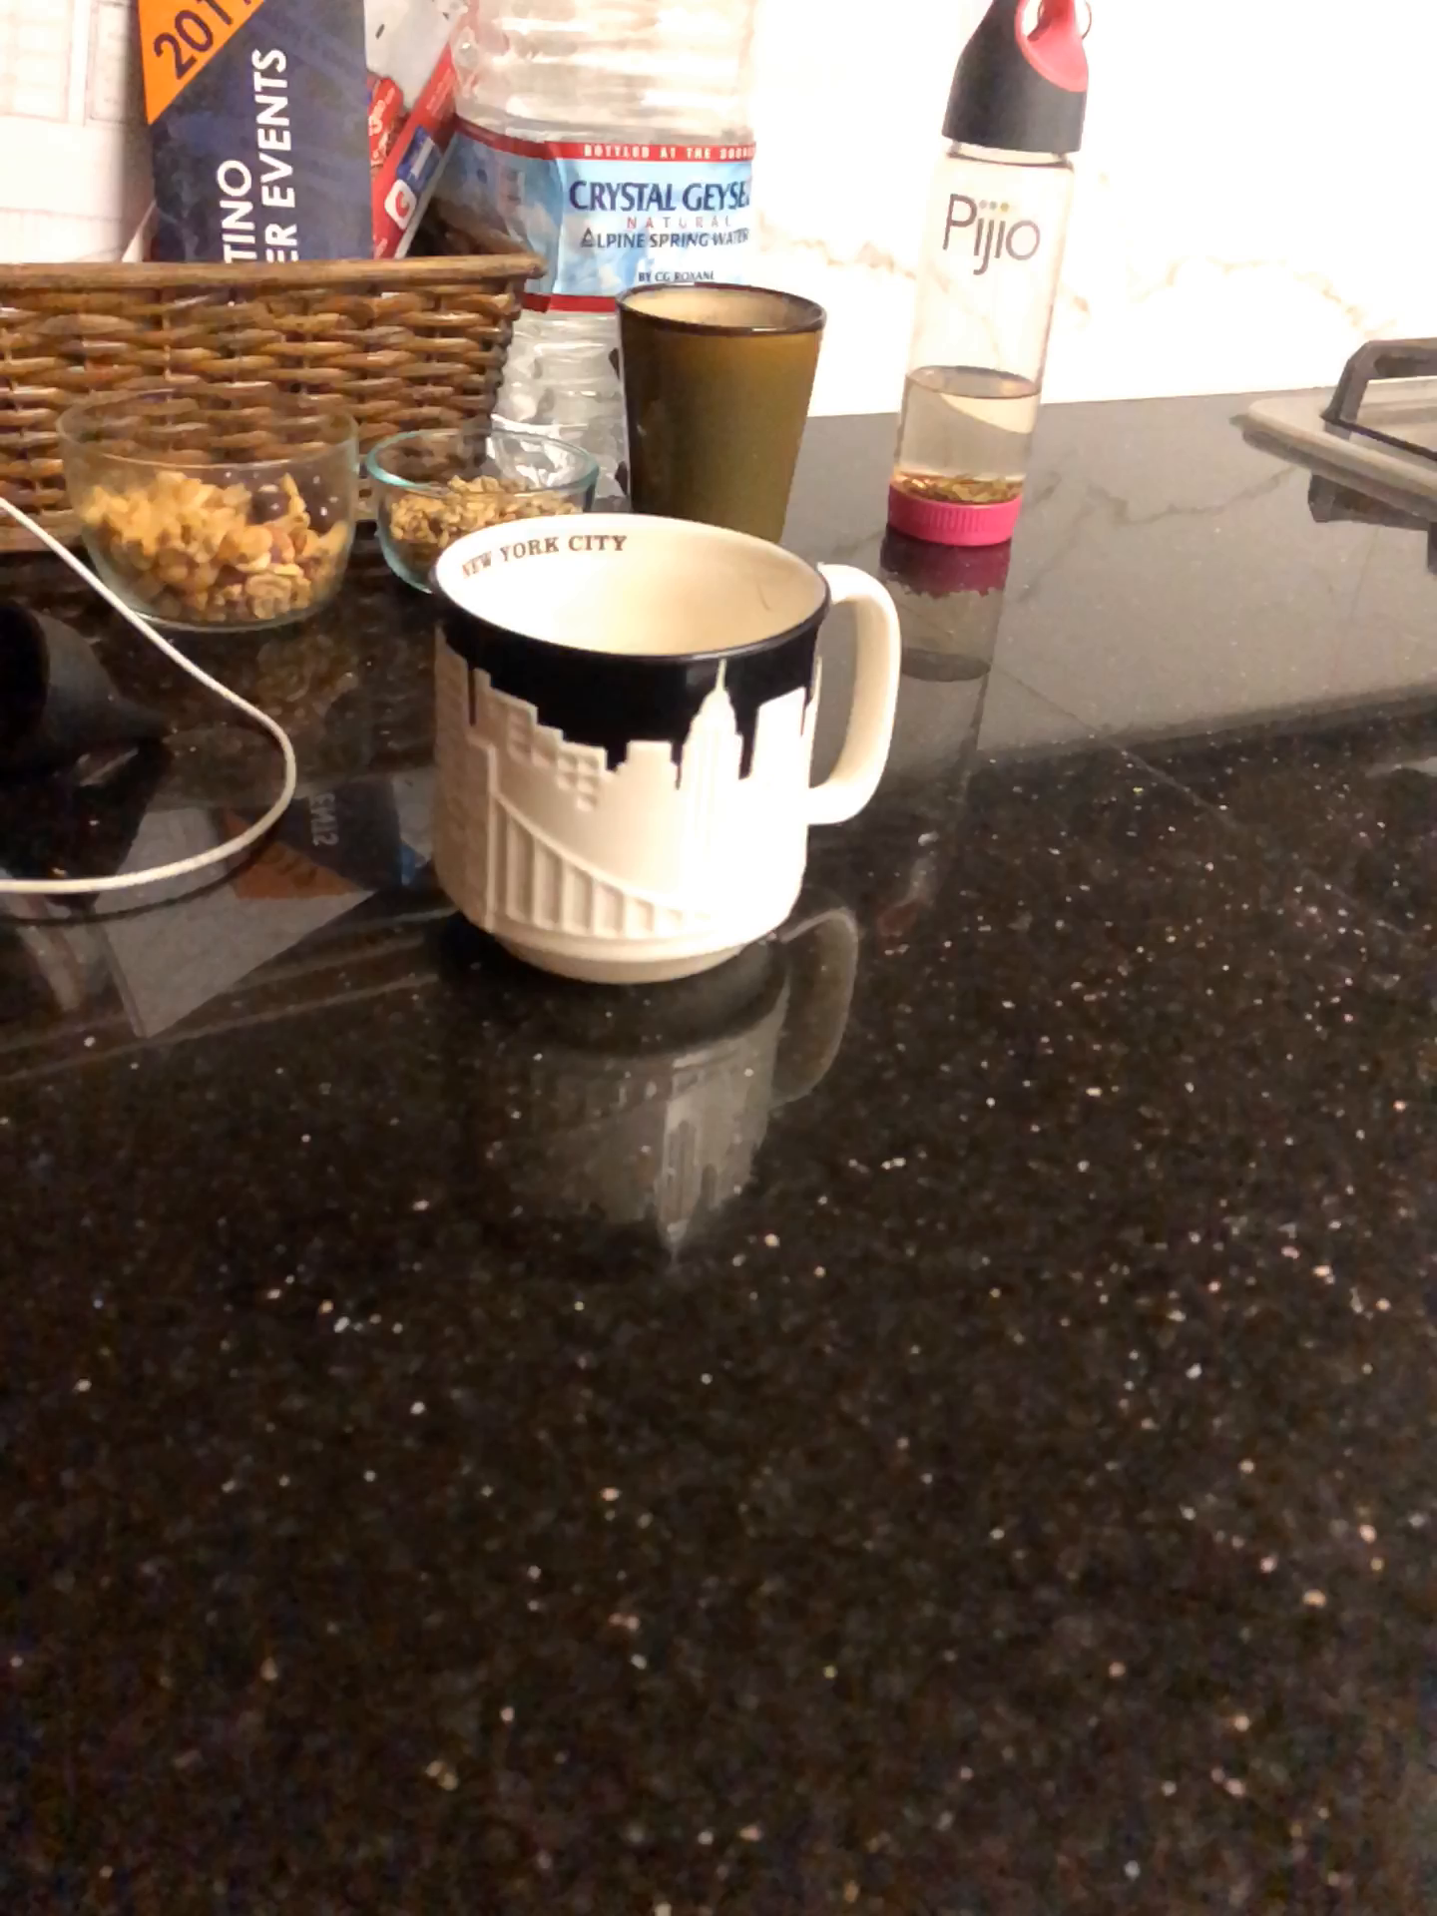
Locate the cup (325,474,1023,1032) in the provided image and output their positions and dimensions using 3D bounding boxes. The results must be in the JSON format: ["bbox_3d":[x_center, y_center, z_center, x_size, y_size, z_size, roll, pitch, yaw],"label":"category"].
[{"bbox_3d":[-0.013,-0.067,0.442,0.150,0.089,0.110,-22,41,-35],"label":"cup"}]
